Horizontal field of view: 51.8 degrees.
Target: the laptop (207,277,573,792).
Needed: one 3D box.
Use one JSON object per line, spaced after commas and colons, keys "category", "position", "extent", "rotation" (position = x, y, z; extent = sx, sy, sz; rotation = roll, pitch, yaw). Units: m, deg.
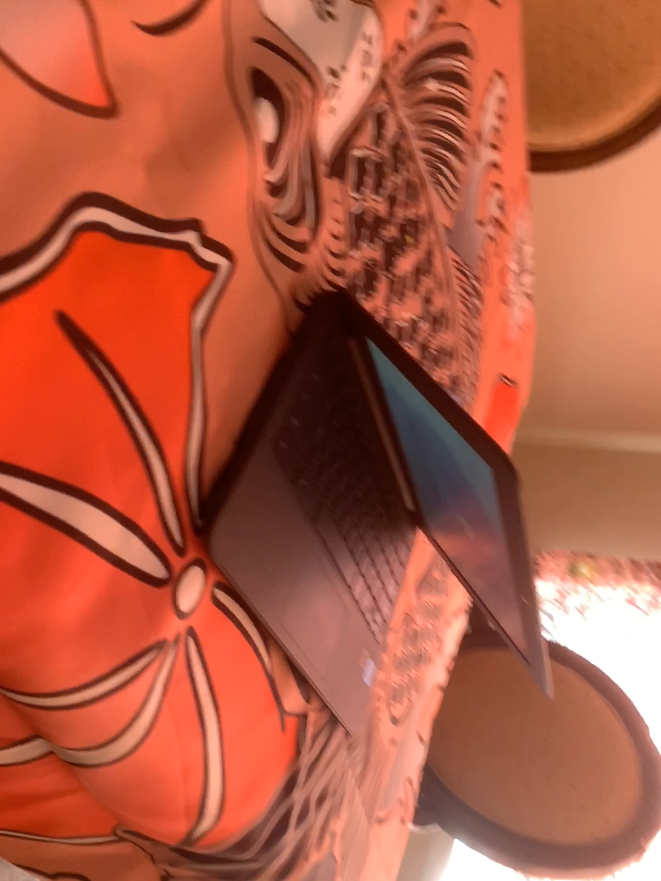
{"category": "laptop", "position": [0.079, 0.074, 0.476], "extent": [0.300, 0.144, 0.212], "rotation": [66, 36, -46]}
